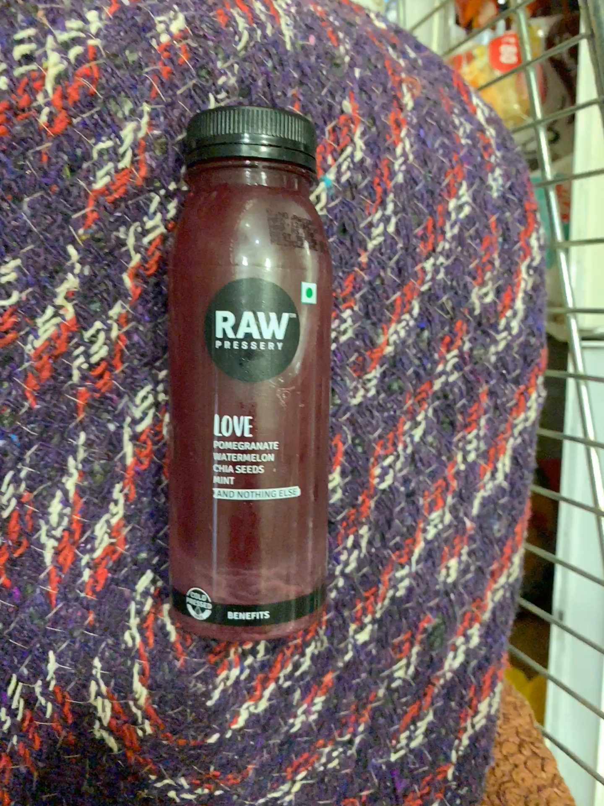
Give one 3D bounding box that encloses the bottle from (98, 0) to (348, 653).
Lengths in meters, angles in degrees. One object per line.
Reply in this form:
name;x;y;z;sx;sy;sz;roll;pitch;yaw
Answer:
bottle;-0.023;-0.023;0.189;0.060;0.060;0.170;0;94;-7
